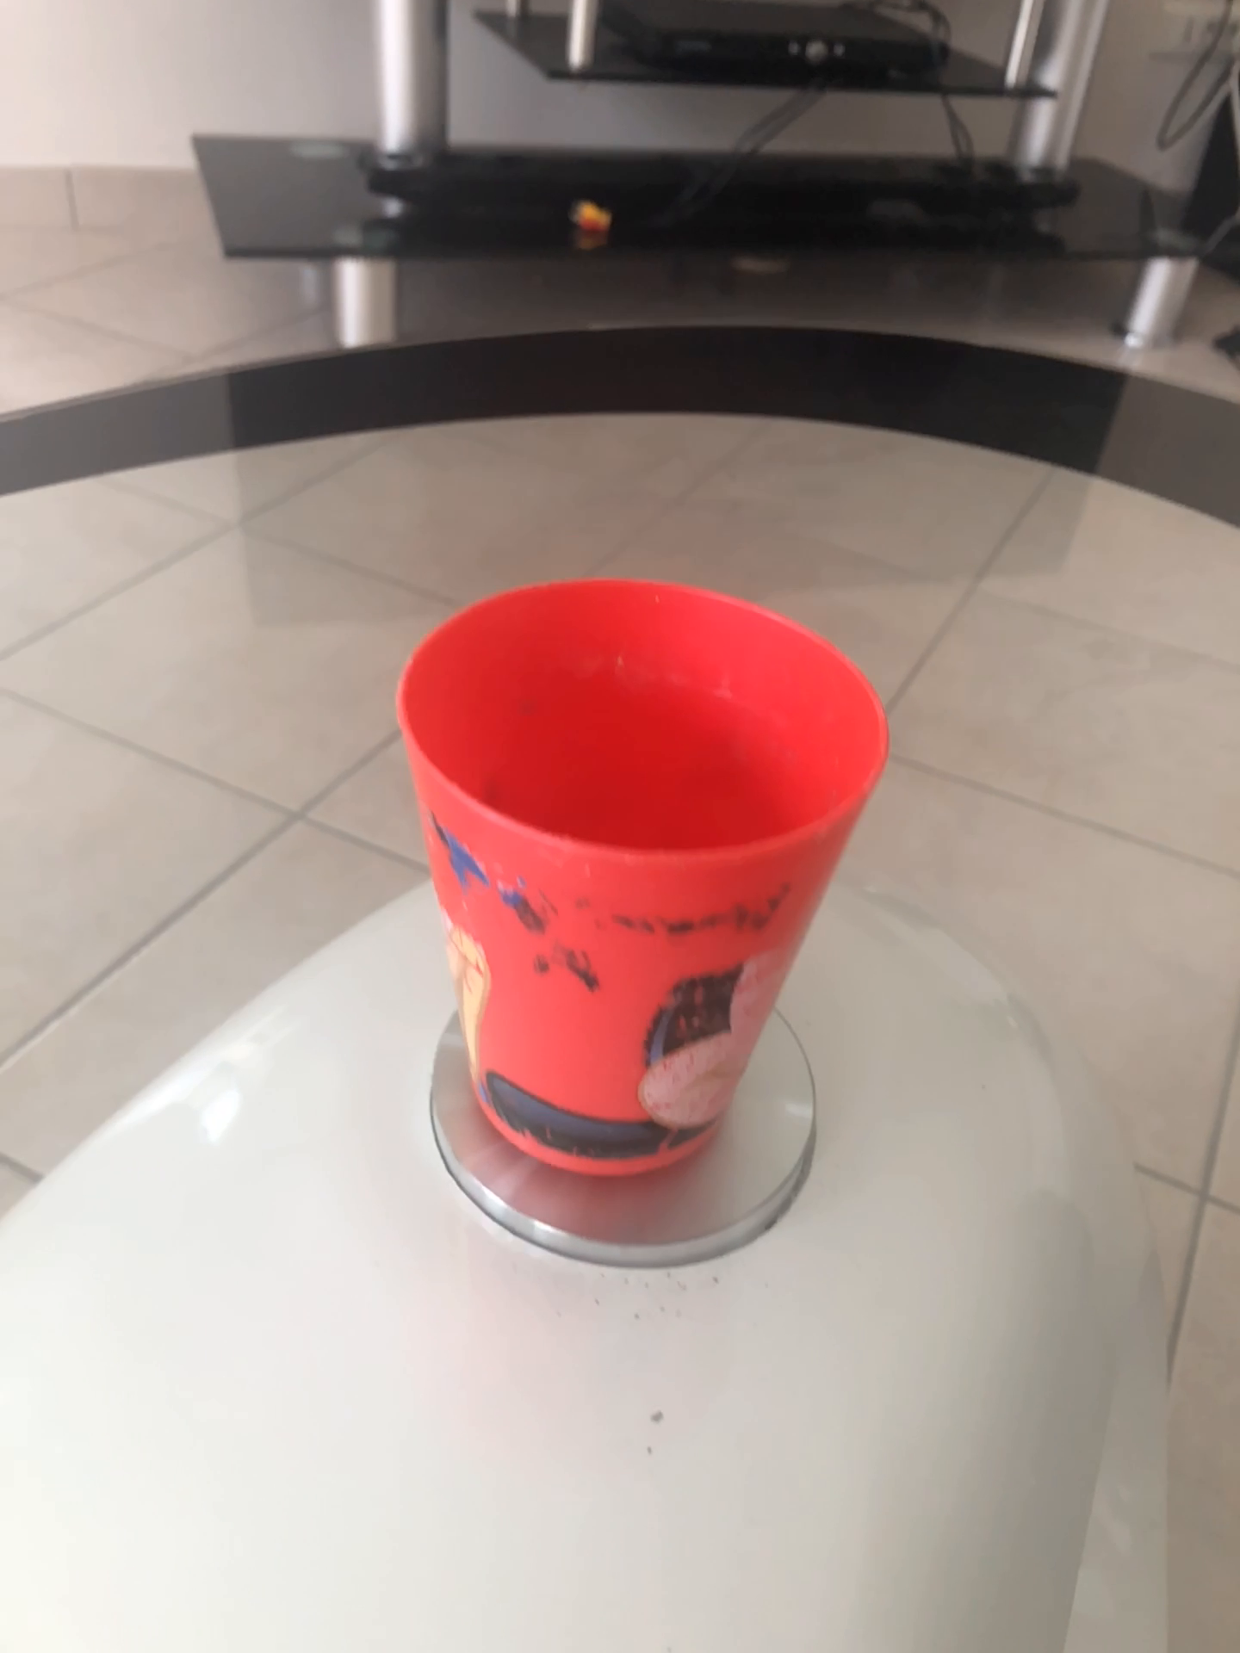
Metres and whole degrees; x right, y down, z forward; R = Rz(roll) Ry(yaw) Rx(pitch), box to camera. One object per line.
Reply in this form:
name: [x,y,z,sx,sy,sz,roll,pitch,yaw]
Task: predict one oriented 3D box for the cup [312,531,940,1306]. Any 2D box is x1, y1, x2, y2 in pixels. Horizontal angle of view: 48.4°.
cup: [0.003,0.013,0.243,0.080,0.089,0.081,4,38,-3]
